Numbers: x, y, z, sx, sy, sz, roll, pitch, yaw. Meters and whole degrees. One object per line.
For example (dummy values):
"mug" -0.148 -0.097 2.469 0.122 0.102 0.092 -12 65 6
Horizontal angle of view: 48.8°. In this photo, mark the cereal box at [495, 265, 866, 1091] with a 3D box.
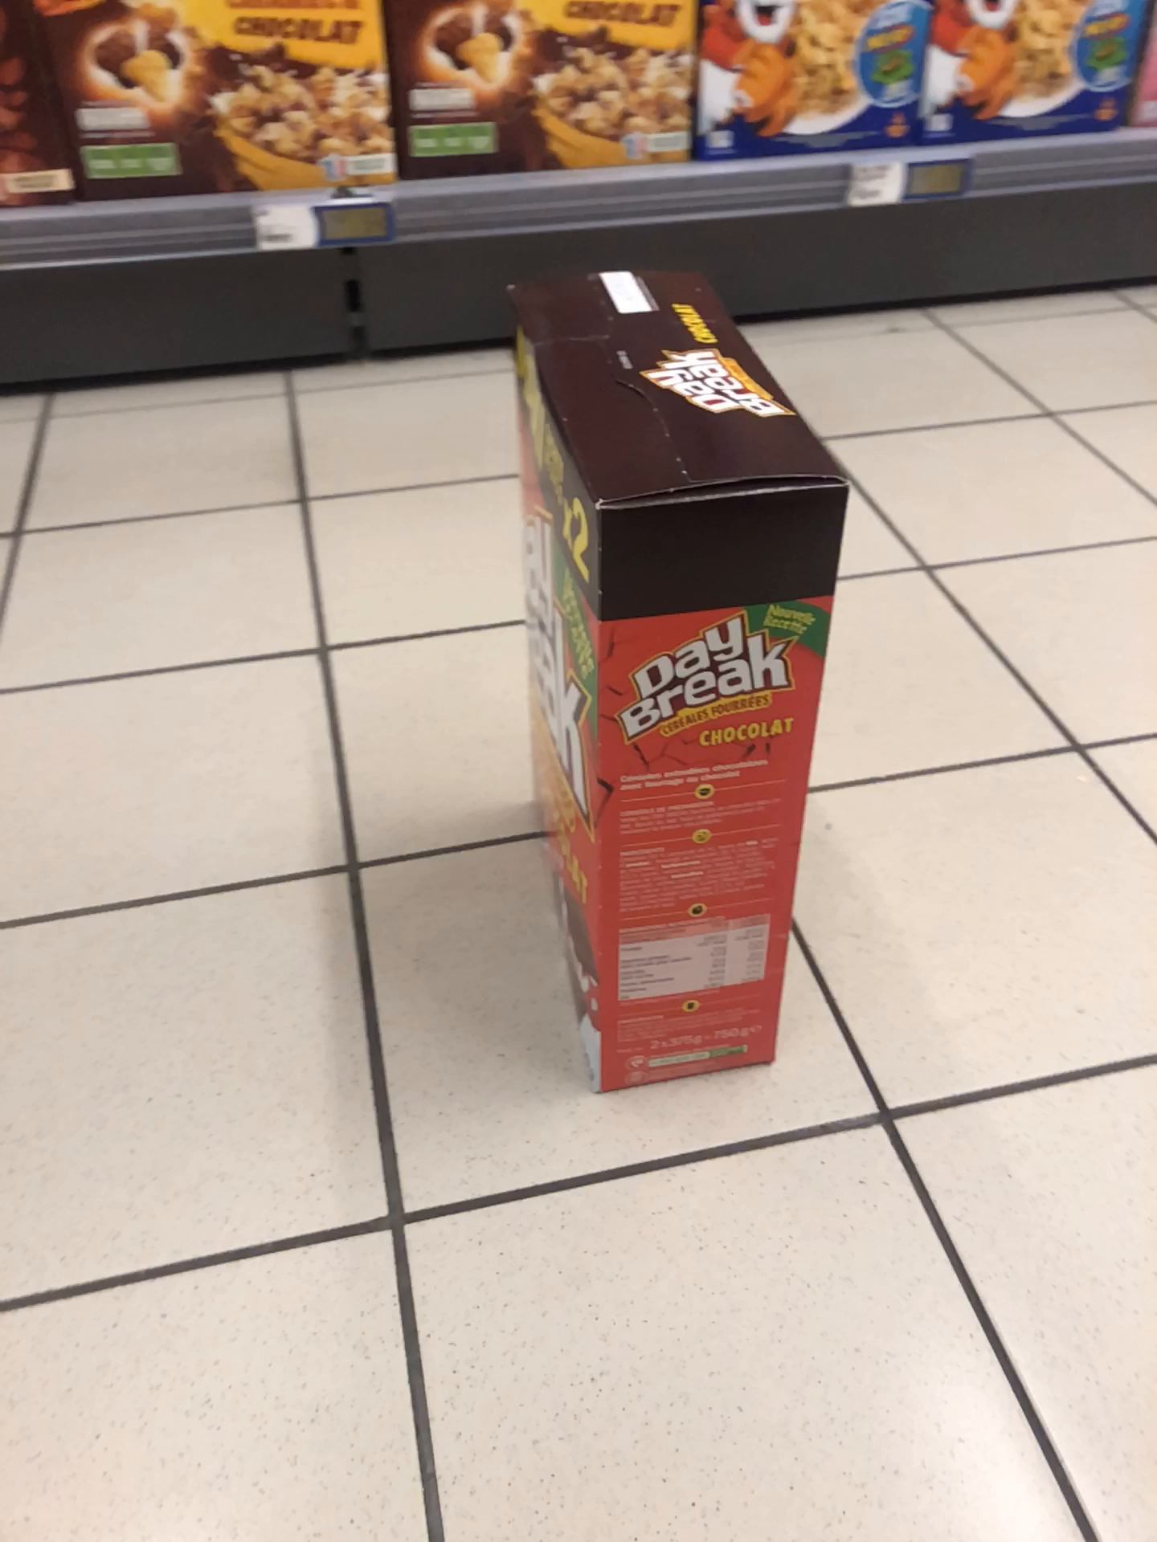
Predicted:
"cereal box" 0.027 -0.038 0.543 0.090 0.278 0.201 -6 40 -7
